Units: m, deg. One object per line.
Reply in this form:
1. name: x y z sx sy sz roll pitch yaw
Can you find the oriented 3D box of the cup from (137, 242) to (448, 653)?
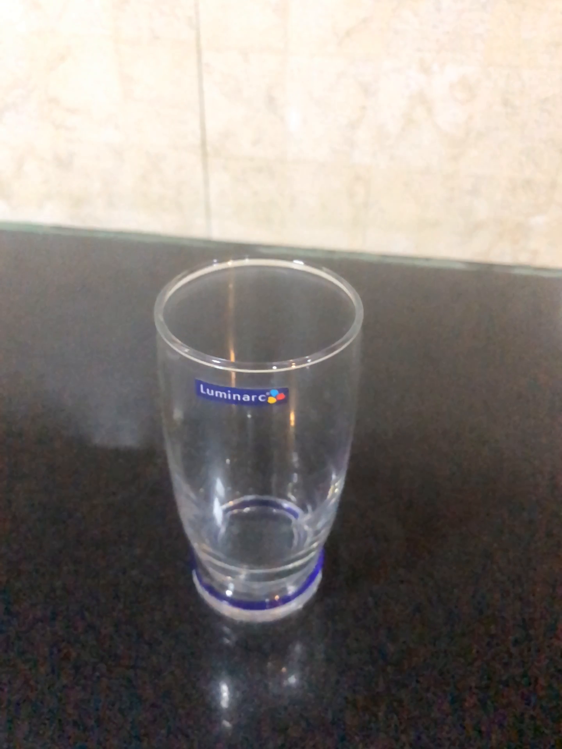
1. cup: 0.002 0.029 0.233 0.080 0.129 0.081 1 37 -1
